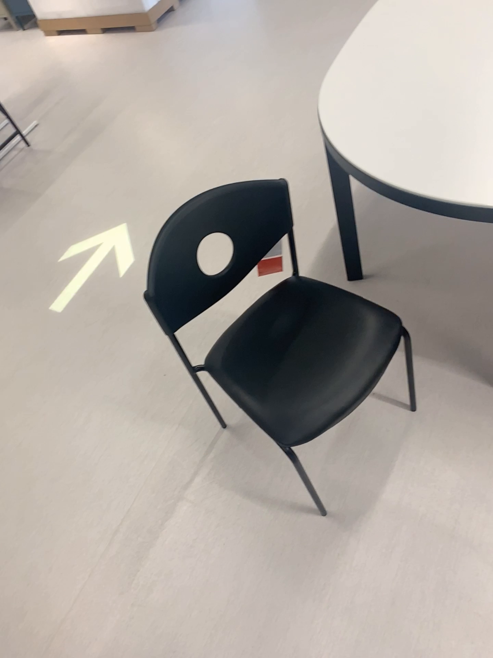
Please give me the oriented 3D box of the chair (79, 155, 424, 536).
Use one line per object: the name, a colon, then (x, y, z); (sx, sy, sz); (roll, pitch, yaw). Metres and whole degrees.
chair: (0.077, 0.059, 1.365); (0.582, 0.737, 0.510); (33, 69, 36)
